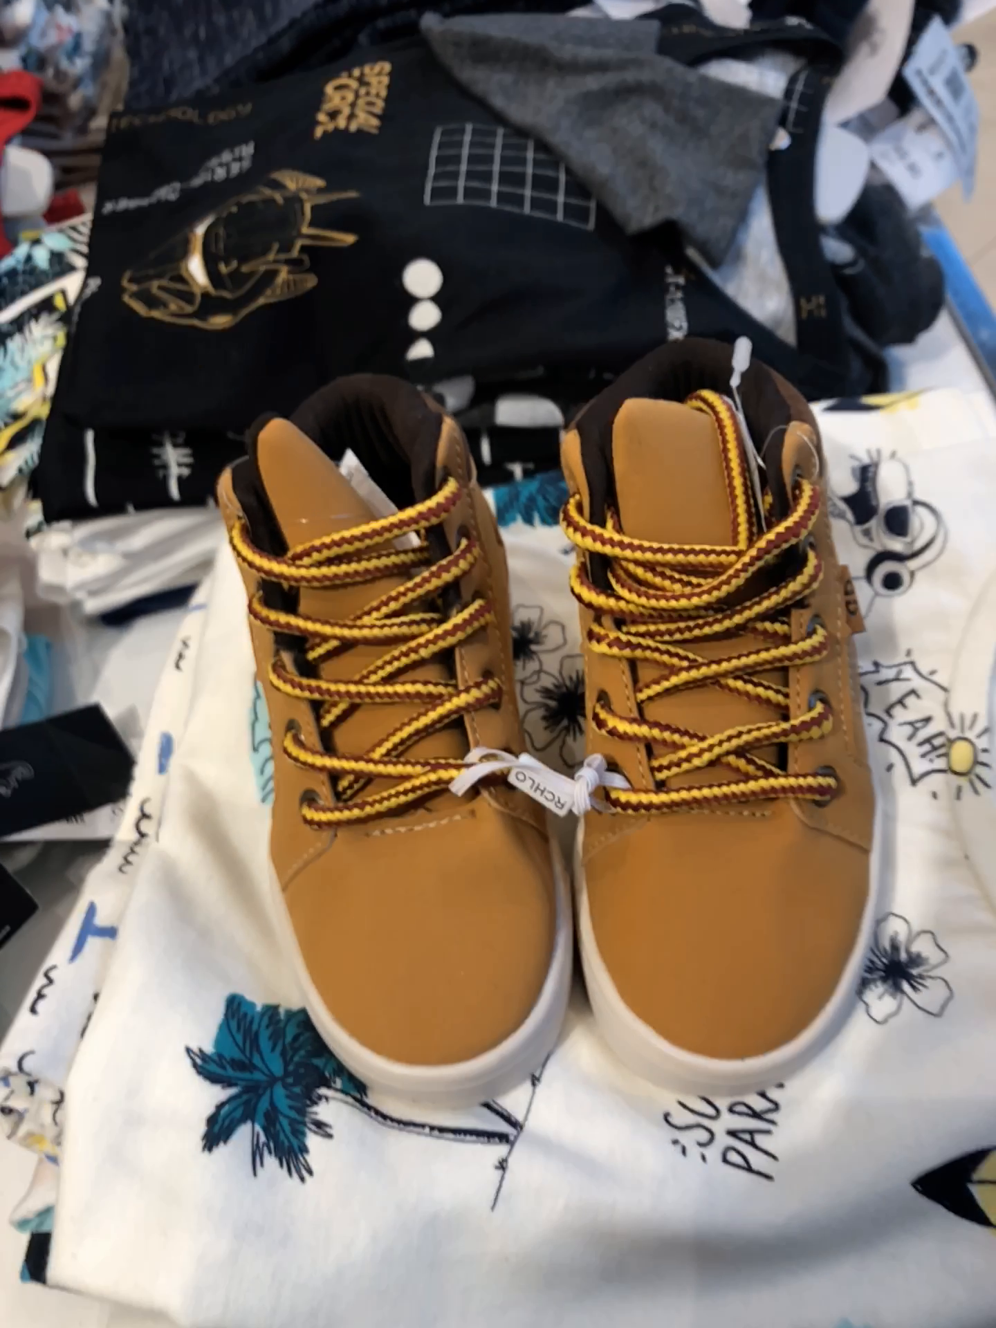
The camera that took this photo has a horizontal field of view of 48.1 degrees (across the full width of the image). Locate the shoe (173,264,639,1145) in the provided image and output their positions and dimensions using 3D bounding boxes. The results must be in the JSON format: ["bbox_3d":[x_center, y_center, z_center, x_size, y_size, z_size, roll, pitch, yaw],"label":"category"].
[{"bbox_3d":[-0.018,0.005,0.254,0.070,0.089,0.171,-9,55,2],"label":"shoe"}]

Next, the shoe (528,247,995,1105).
[{"bbox_3d":[0.051,-0.002,0.254,0.070,0.089,0.171,-1,54,8],"label":"shoe"}]
